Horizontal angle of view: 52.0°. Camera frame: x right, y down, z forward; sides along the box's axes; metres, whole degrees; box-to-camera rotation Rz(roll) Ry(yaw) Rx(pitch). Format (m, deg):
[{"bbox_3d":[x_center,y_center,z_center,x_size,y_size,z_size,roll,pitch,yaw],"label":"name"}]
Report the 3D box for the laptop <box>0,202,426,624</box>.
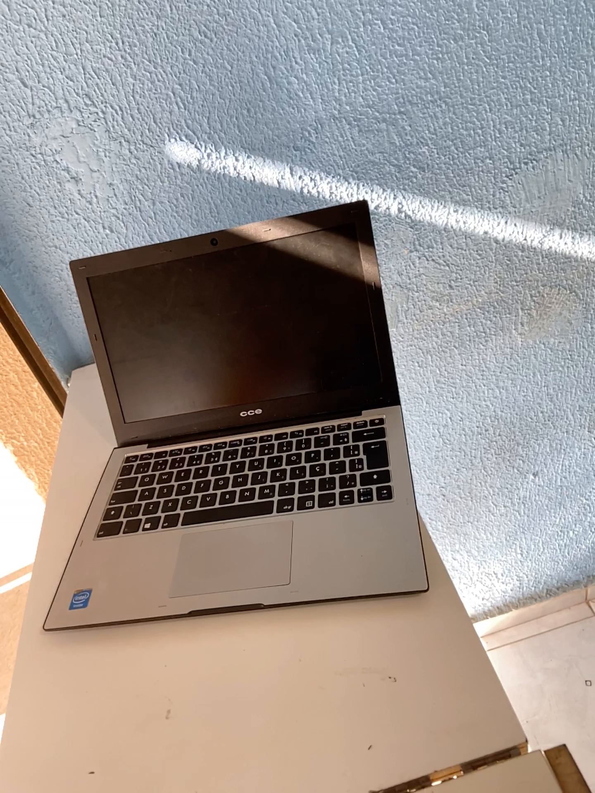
[{"bbox_3d":[-0.072,0.001,0.547,0.313,0.181,0.305,-9,38,10],"label":"laptop"}]
